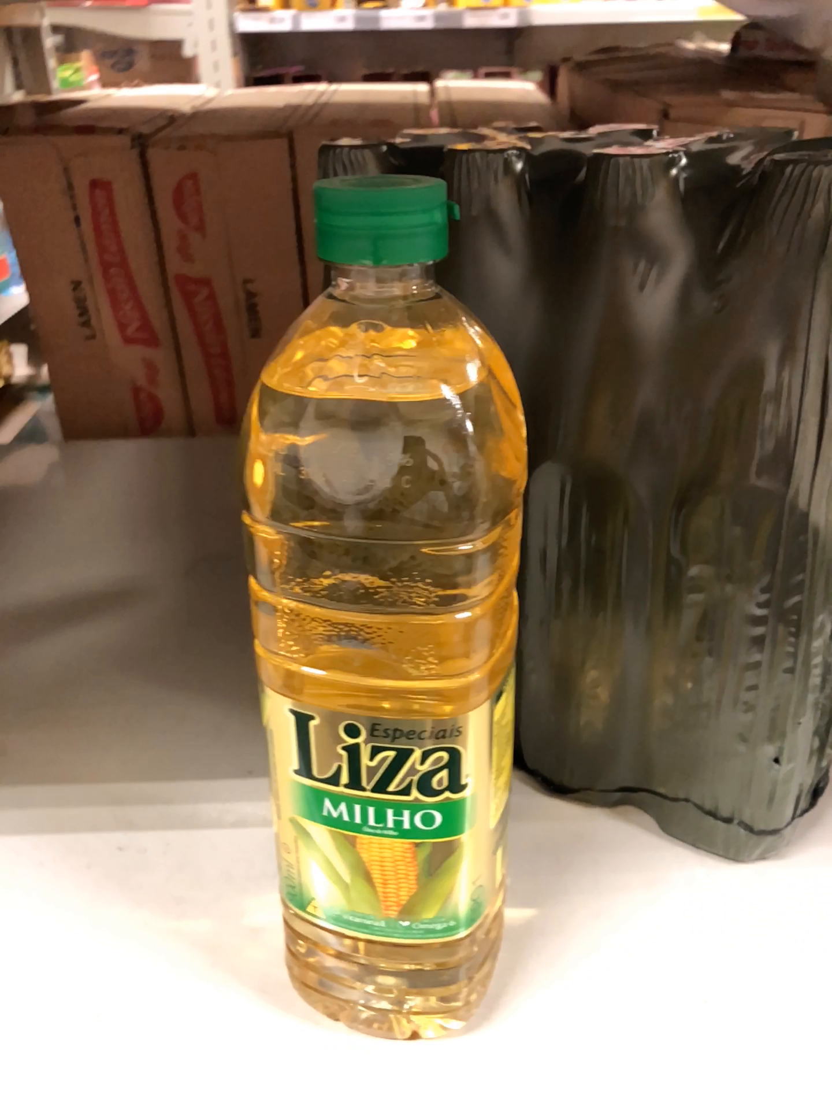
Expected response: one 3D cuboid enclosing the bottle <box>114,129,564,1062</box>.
[{"bbox_3d":[-0.006,0.024,0.254,0.080,0.248,0.071,3,29,9],"label":"bottle"}]
